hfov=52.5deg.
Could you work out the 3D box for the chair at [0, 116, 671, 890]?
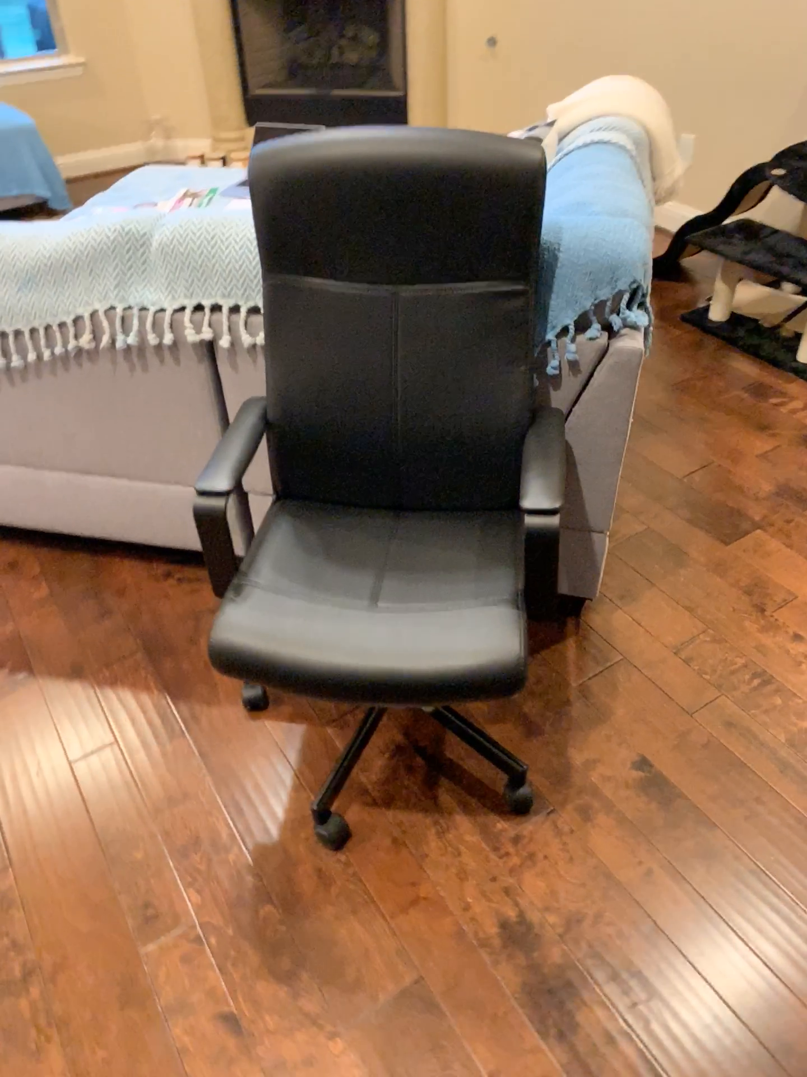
[{"bbox_3d":[-0.034,-0.065,1.420,0.734,1.037,0.763,5,41,9],"label":"chair"}]
